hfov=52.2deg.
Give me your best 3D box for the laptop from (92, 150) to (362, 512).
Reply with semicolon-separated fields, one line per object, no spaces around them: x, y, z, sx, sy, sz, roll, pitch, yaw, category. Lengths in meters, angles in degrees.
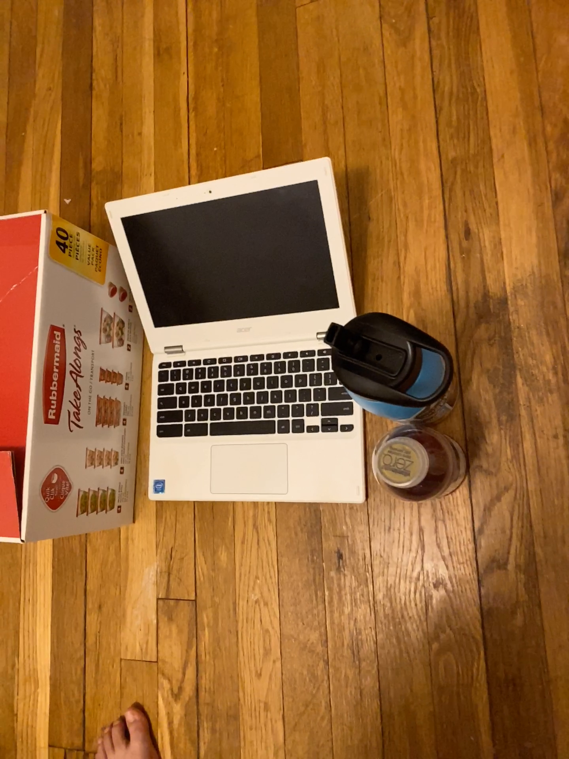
-0.067;-0.038;0.679;0.289;0.109;0.364;-4;81;23;laptop
